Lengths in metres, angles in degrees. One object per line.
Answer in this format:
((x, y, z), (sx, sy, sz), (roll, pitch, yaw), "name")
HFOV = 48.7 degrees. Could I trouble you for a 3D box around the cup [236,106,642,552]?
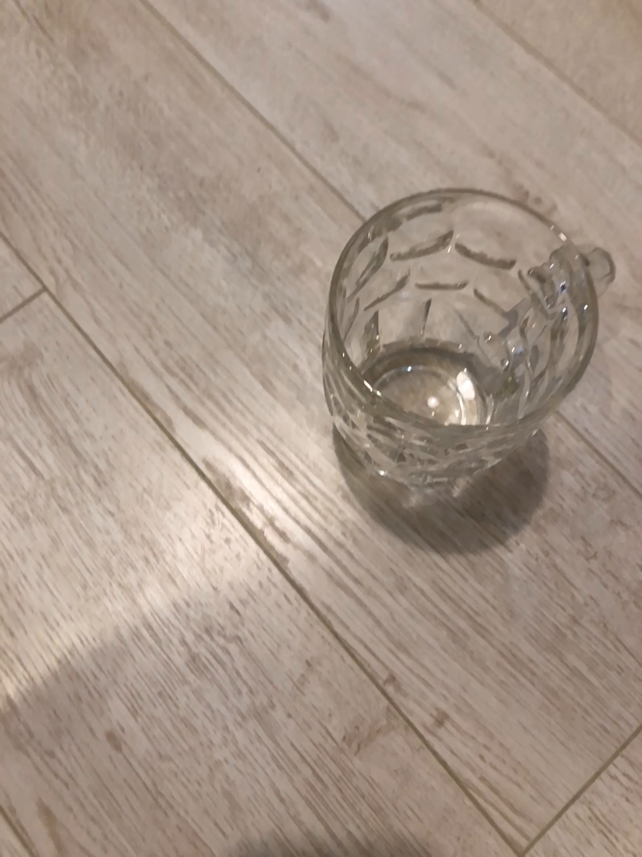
((0.055, -0.032, 0.296), (0.140, 0.110, 0.100), (-26, 75, -8), "cup")
